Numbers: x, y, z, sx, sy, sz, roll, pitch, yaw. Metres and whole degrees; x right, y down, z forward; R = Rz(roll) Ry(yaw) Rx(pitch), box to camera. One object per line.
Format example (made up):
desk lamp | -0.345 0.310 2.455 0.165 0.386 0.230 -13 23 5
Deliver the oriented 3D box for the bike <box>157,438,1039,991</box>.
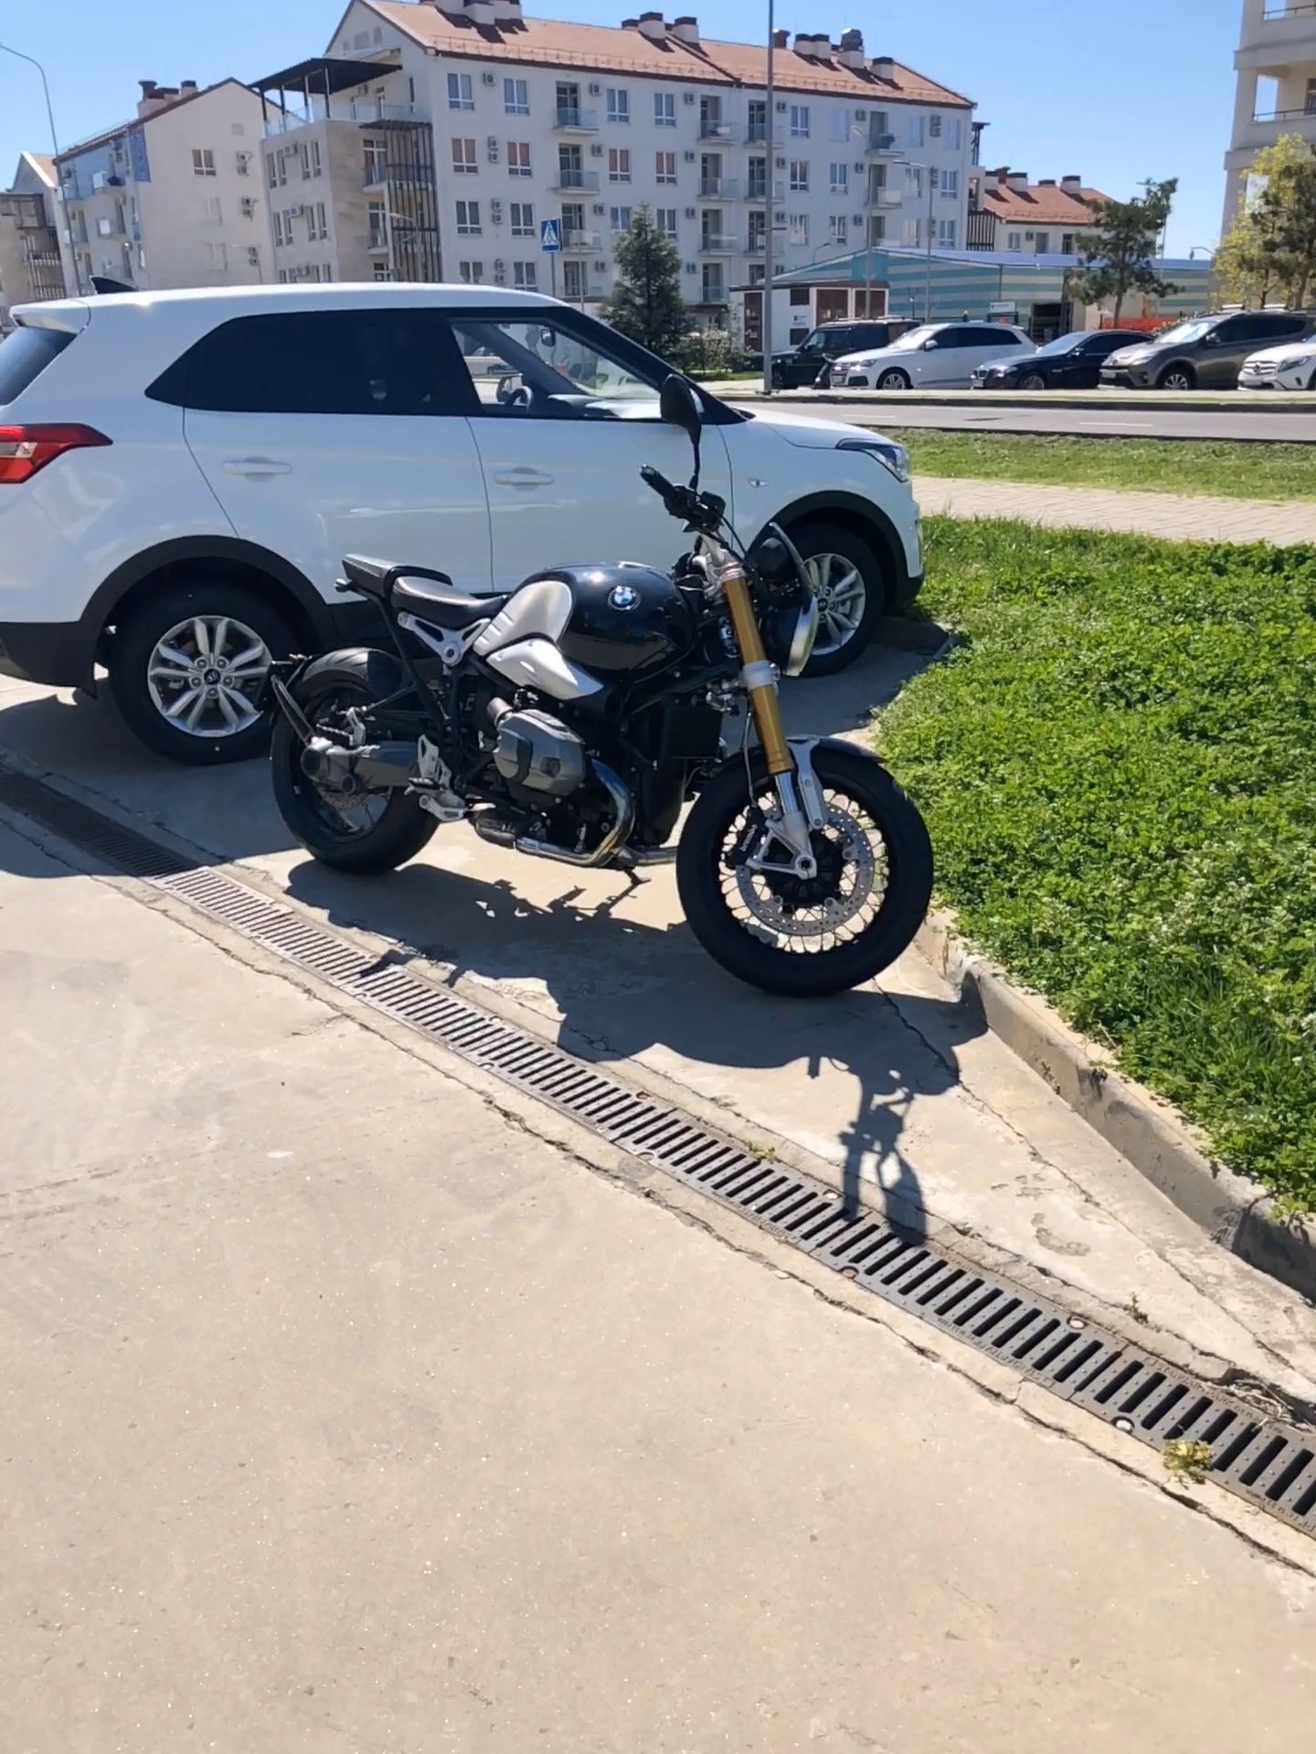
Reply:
bike | -0.175 -0.490 3.439 1.834 1.013 0.779 10 21 30
